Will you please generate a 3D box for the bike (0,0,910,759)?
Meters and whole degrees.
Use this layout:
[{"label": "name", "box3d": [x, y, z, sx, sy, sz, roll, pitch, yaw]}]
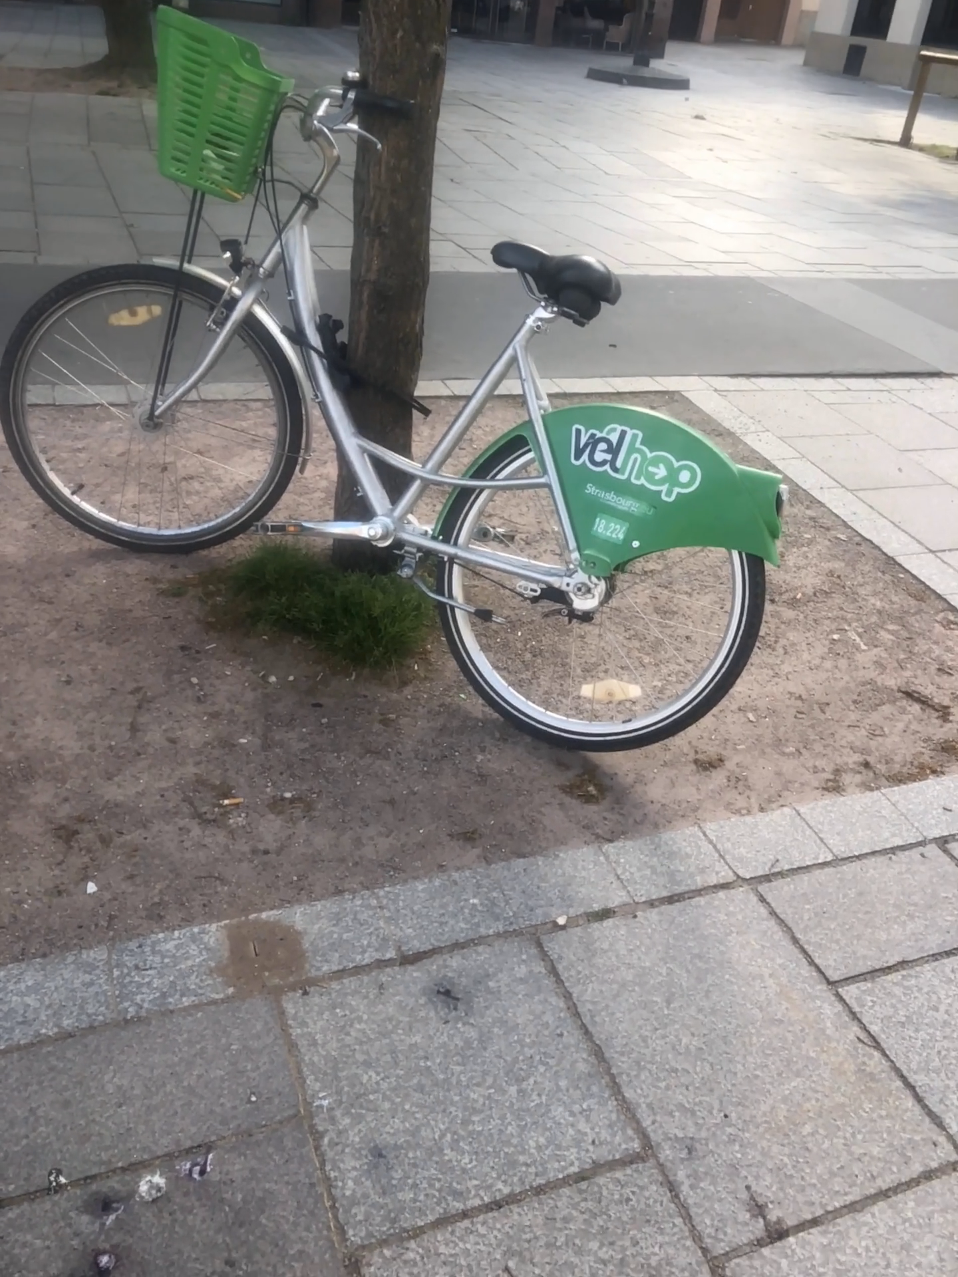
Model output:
[{"label": "bike", "box3d": [-0.166, -0.554, 2.160, 1.719, 1.114, 0.313, 17, 33, 9]}]
